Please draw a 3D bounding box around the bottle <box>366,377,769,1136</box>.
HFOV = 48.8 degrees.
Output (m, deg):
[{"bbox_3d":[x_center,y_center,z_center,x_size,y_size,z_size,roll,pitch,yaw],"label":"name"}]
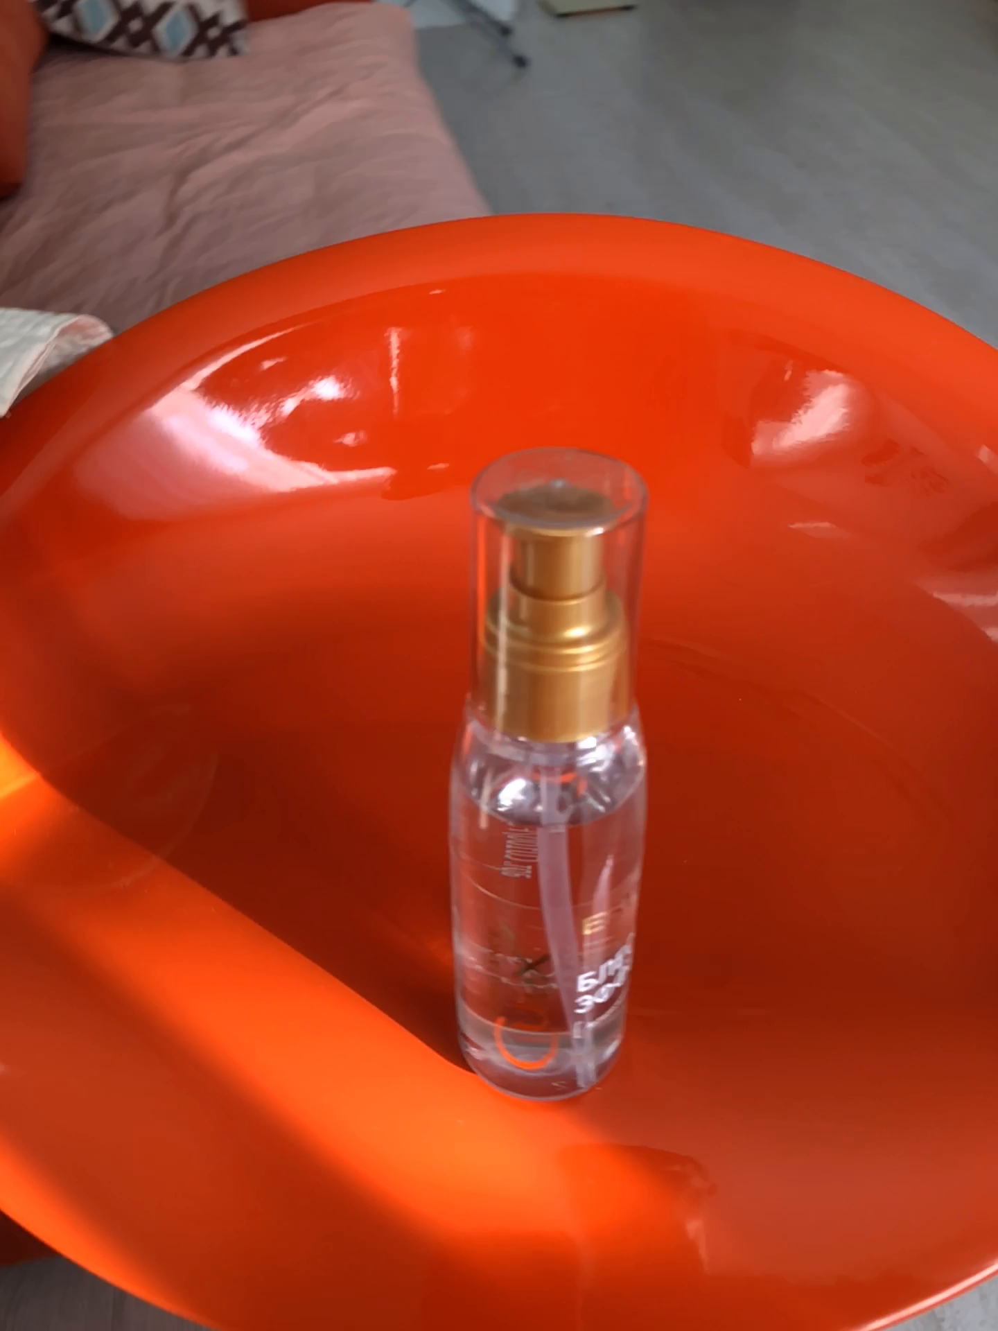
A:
[{"bbox_3d":[0.012,0.025,0.229,0.050,0.149,0.050,-2,36,1],"label":"bottle"}]
